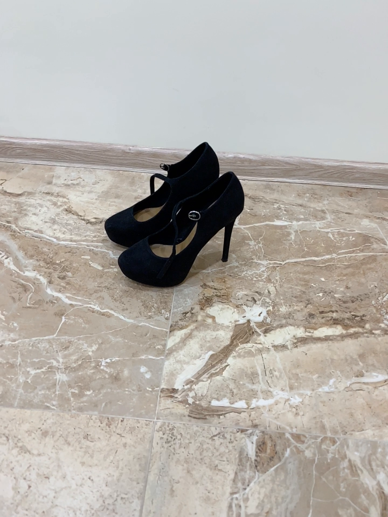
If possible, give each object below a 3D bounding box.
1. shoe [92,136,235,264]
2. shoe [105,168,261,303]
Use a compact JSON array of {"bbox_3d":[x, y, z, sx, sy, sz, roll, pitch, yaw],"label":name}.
[{"bbox_3d":[-0.053,-0.103,0.691,0.210,0.169,0.090,-12,44,-17],"label":"shoe"},{"bbox_3d":[-0.018,-0.037,0.622,0.210,0.159,0.080,-12,44,-17],"label":"shoe"}]
